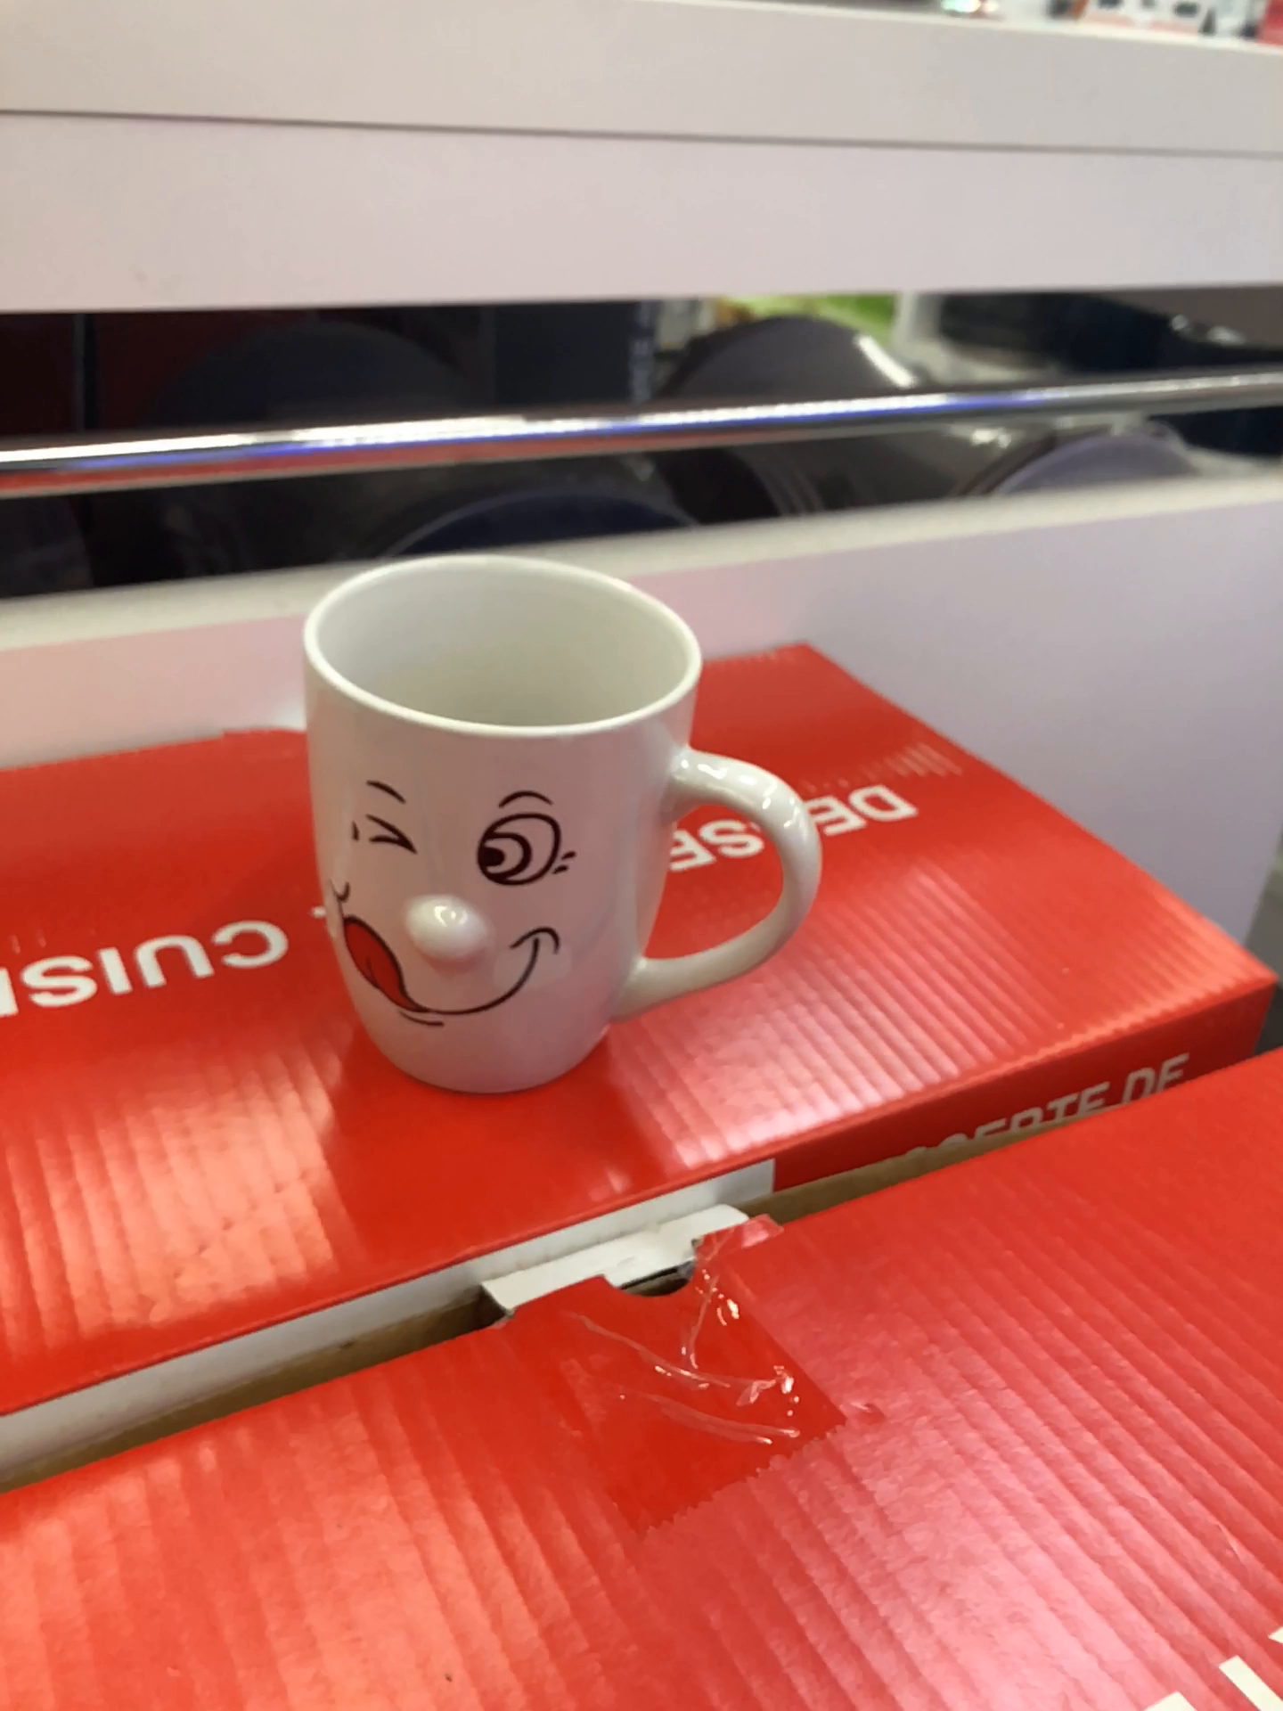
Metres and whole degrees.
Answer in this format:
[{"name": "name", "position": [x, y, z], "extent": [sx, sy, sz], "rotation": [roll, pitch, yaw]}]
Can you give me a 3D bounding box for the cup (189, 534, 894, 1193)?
[{"name": "cup", "position": [-0.019, -0.005, 0.326], "extent": [0.123, 0.092, 0.093], "rotation": [13, 31, 13]}]
